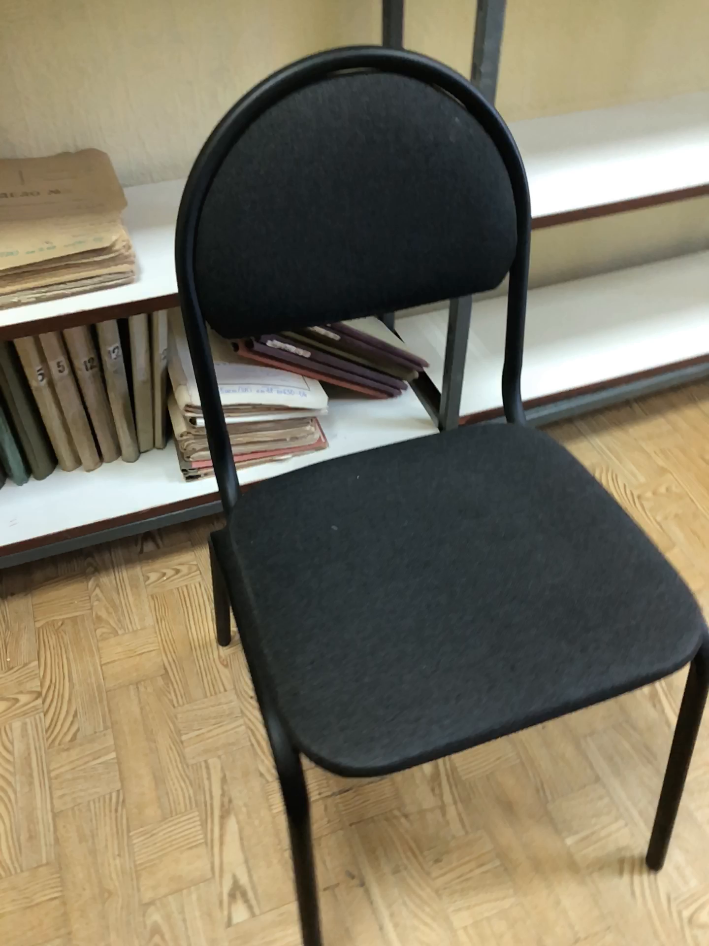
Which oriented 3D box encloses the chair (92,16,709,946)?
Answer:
[{"bbox_3d":[0.090,0.085,0.824,0.473,0.835,0.563,-14,47,-13],"label":"chair"}]
